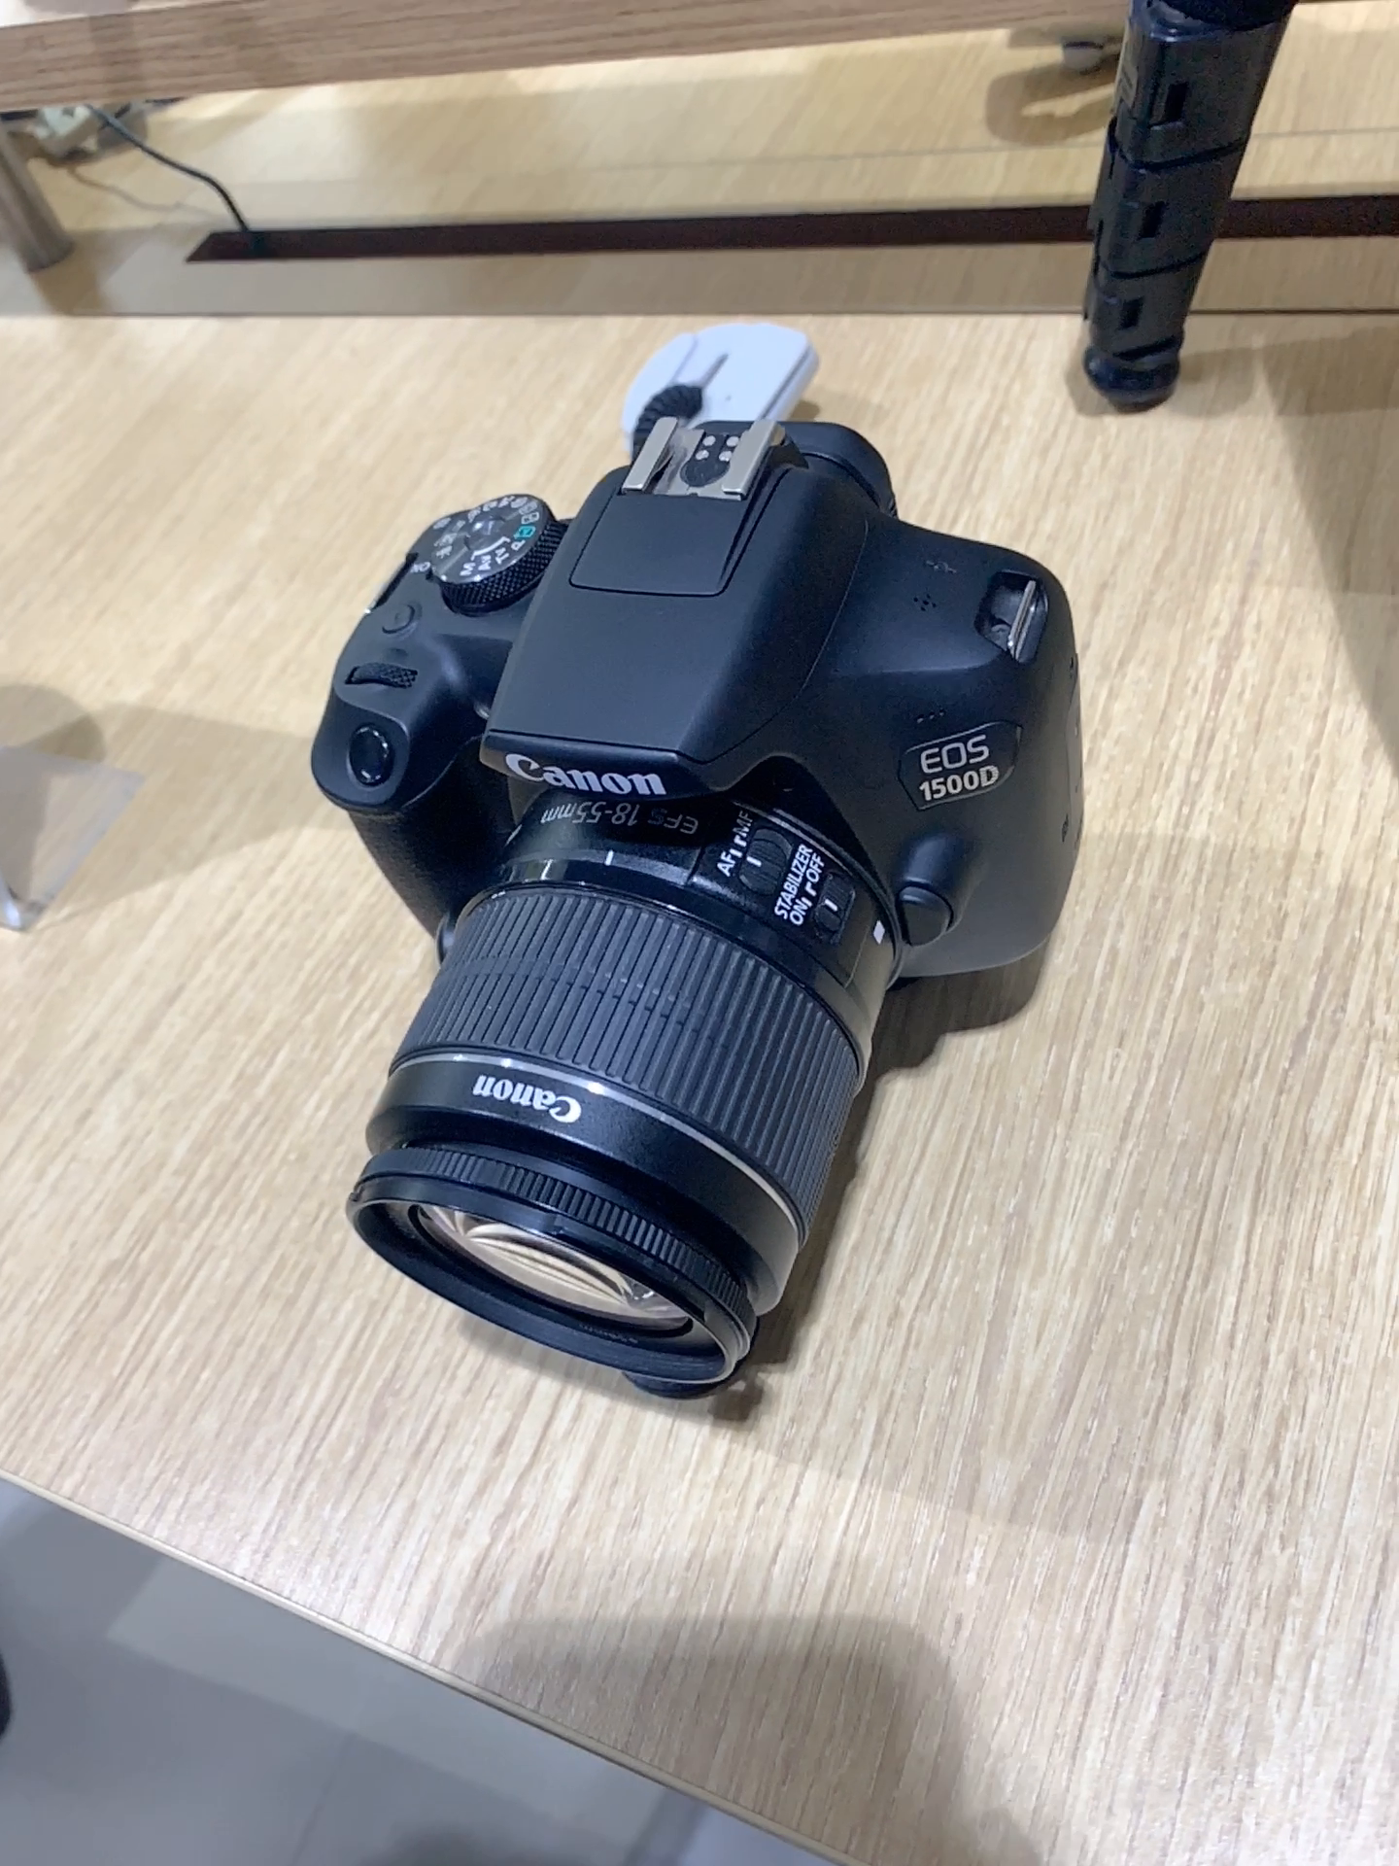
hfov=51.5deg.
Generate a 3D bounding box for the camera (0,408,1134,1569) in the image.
[{"bbox_3d":[-0.006,-0.001,0.228,0.121,0.088,0.140,8,56,23],"label":"camera"}]
